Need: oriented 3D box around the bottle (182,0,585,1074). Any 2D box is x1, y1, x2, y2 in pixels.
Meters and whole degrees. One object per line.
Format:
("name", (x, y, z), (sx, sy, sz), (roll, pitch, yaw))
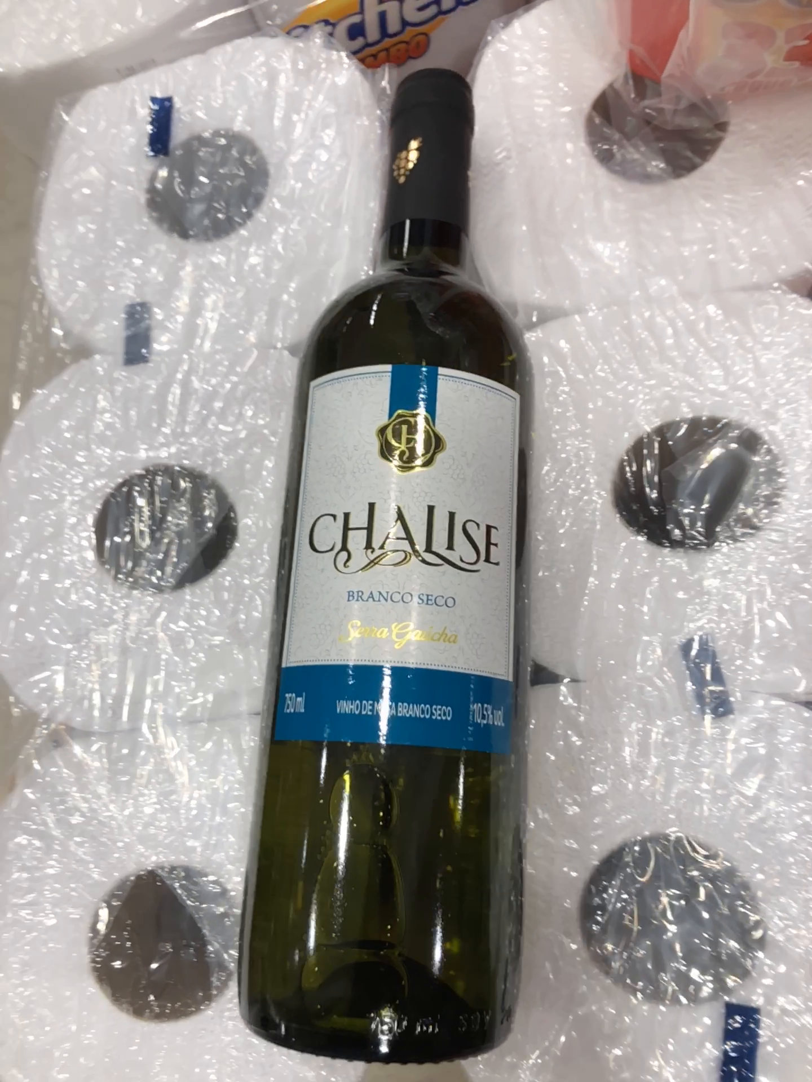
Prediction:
("bottle", (0.002, -0.018, 0.255), (0.080, 0.060, 0.280), (4, 74, -1))
